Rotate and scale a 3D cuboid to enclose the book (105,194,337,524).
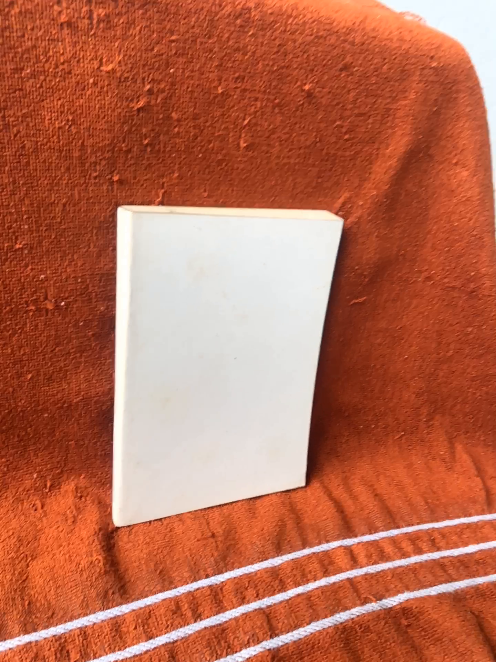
[{"bbox_3d":[-0.017,0.015,0.373,0.151,0.200,0.030,-3,12,-29],"label":"book"}]
